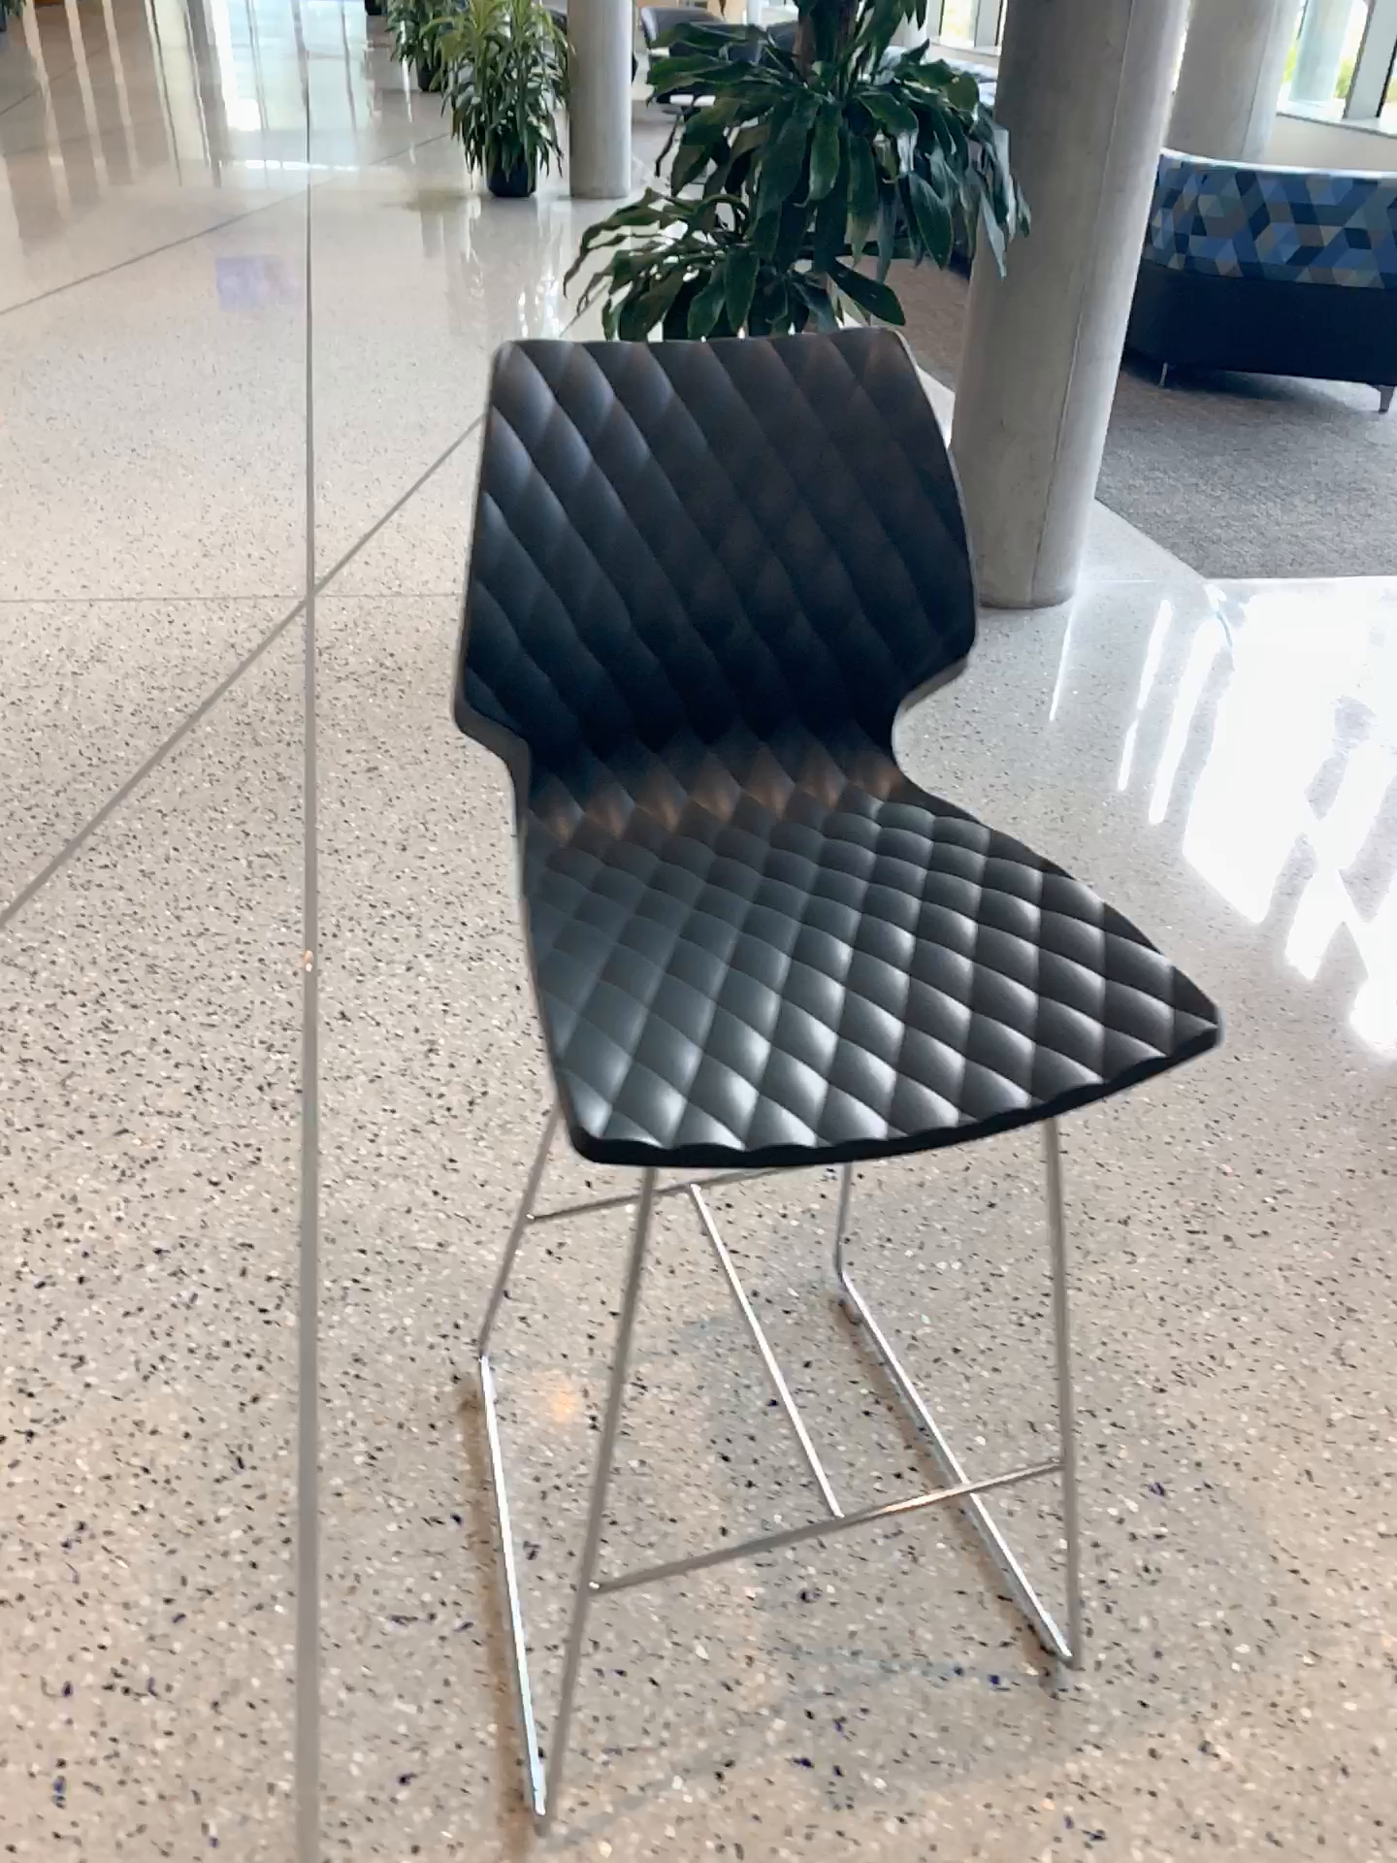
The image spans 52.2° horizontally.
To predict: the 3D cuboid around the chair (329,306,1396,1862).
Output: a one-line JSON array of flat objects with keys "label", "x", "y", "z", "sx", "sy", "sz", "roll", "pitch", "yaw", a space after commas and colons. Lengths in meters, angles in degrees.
[{"label": "chair", "x": 0.054, "y": 0.128, "z": 1.131, "sx": 0.532, "sy": 1.047, "sz": 0.551, "roll": -7, "pitch": 35, "yaw": -14}]
